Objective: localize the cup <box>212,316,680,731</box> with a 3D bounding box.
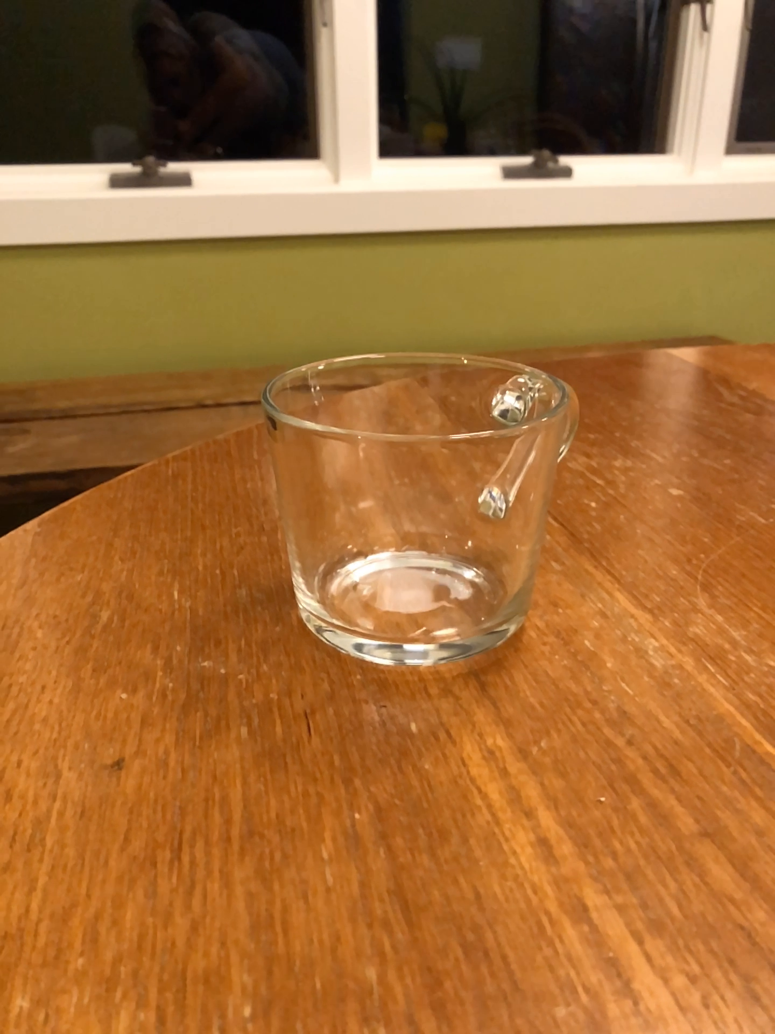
[{"bbox_3d":[0.020,-0.010,0.305,0.120,0.089,0.100,-19,30,-36],"label":"cup"}]
